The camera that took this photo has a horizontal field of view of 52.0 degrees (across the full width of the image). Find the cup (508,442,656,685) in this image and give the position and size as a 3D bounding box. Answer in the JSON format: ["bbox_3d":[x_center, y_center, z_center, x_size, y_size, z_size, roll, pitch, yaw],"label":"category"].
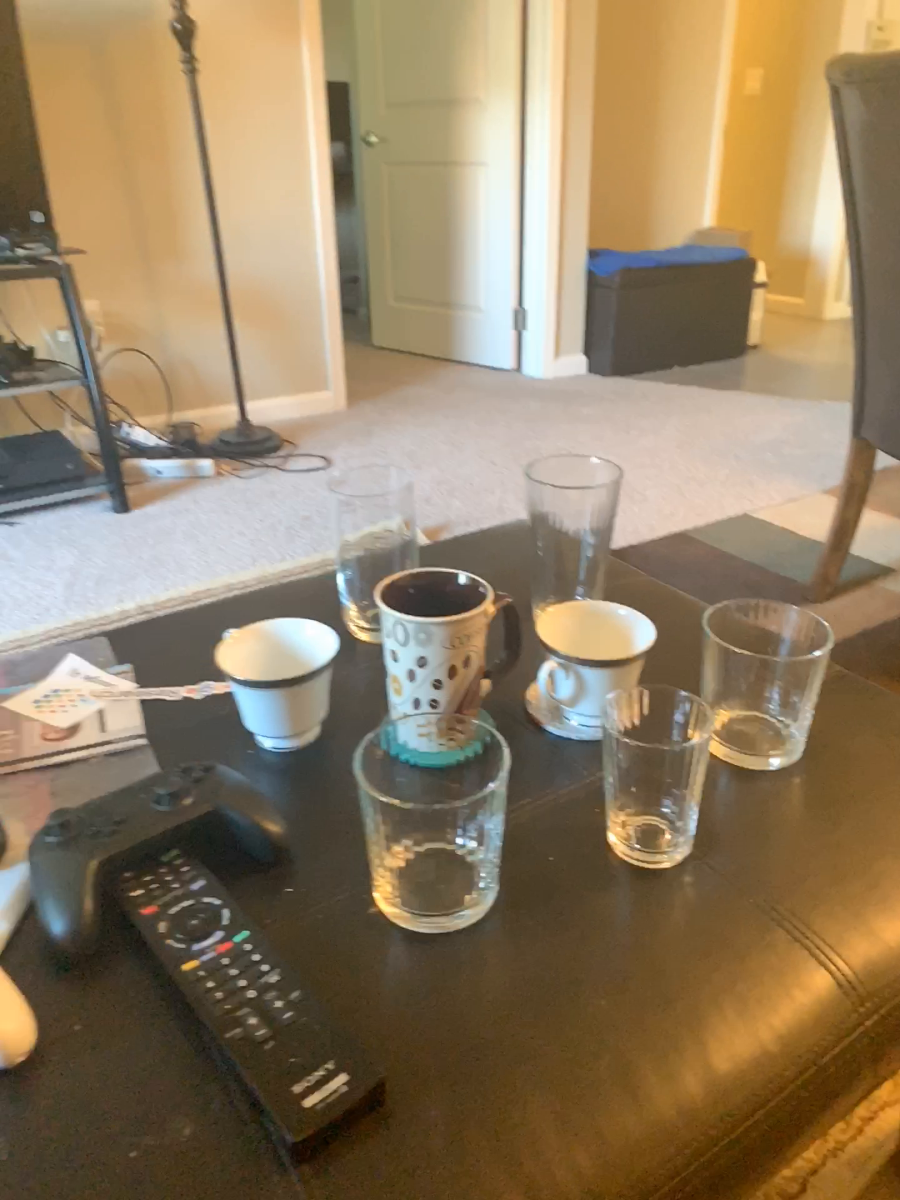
[{"bbox_3d":[0.118,-0.036,0.854,0.090,0.189,0.090,-1,26,0],"label":"cup"}]

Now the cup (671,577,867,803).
[{"bbox_3d":[0.236,0.064,0.693,0.090,0.119,0.090,-1,26,1],"label":"cup"}]

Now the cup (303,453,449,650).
[{"bbox_3d":[-0.065,-0.047,0.838,0.090,0.139,0.090,-1,26,0],"label":"cup"}]

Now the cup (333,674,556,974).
[{"bbox_3d":[-0.003,0.128,0.549,0.090,0.119,0.090,-1,26,1],"label":"cup"}]

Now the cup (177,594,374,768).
[{"bbox_3d":[-0.130,0.058,0.706,0.110,0.080,0.090,10,28,21],"label":"cup"}]

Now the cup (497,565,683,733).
[{"bbox_3d":[0.107,0.033,0.714,0.110,0.070,0.090,-22,33,-36],"label":"cup"}]

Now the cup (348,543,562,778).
[{"bbox_3d":[0.005,0.041,0.706,0.130,0.119,0.090,-18,30,-30],"label":"cup"}]

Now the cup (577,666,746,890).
[{"bbox_3d":[0.133,0.111,0.587,0.070,0.099,0.070,-1,26,1],"label":"cup"}]
